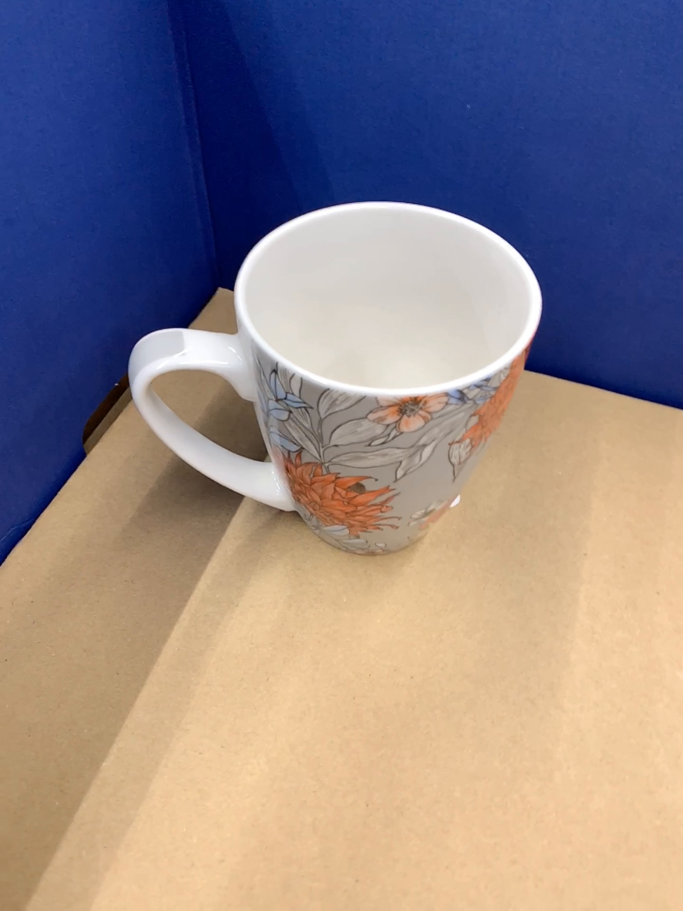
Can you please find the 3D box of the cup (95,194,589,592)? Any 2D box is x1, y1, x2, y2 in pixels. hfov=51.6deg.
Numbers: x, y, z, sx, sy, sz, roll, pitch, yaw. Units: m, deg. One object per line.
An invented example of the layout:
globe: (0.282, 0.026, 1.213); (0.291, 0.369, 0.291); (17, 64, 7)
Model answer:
cup: (-0.002, -0.021, 0.229); (0.117, 0.085, 0.092); (-2, 48, -3)
